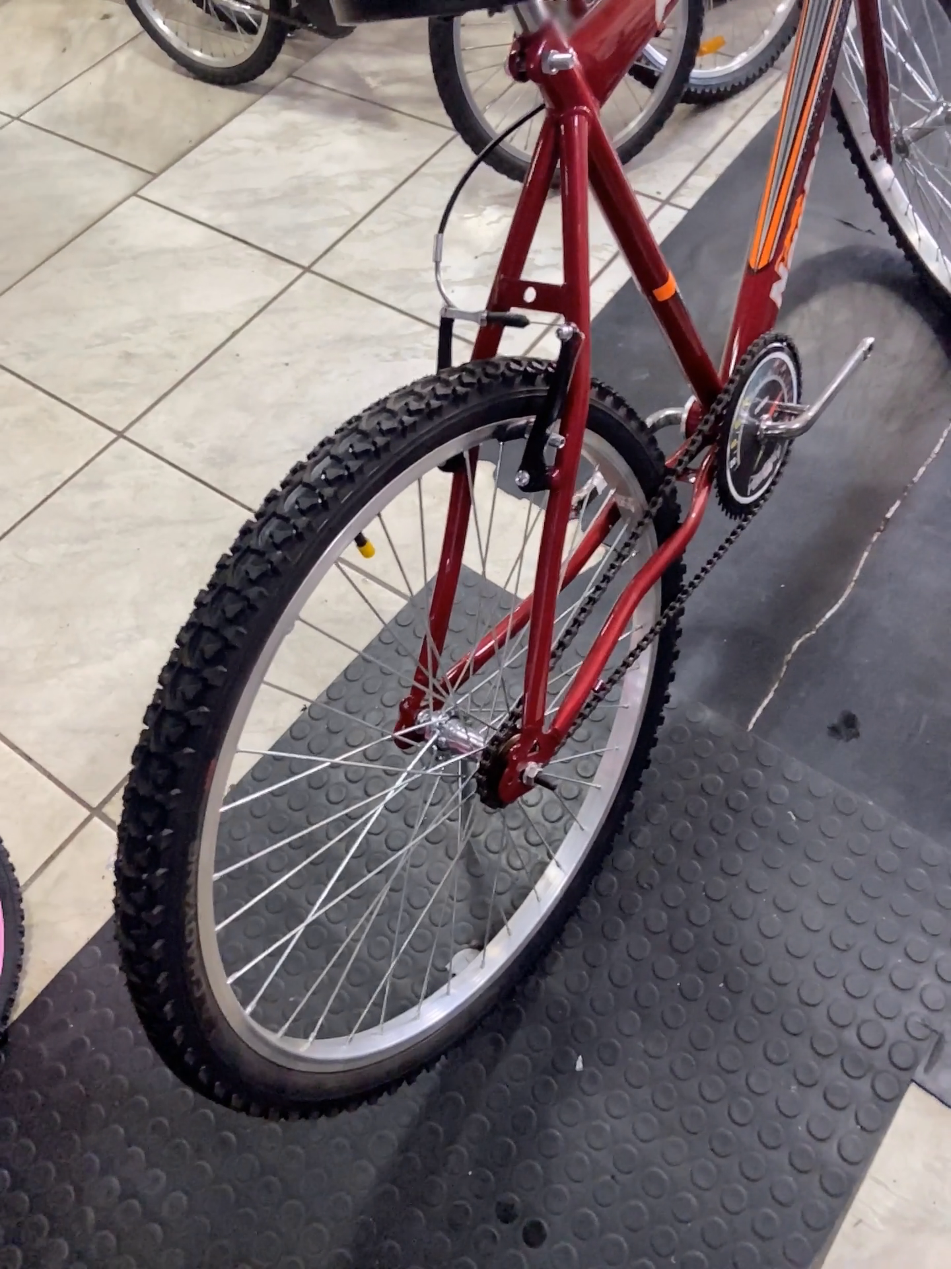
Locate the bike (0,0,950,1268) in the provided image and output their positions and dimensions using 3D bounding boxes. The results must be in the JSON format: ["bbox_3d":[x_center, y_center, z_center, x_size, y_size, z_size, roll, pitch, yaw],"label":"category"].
[{"bbox_3d":[0.092,-0.450,0.839,0.566,1.030,1.586,20,65,19],"label":"bike"}]
